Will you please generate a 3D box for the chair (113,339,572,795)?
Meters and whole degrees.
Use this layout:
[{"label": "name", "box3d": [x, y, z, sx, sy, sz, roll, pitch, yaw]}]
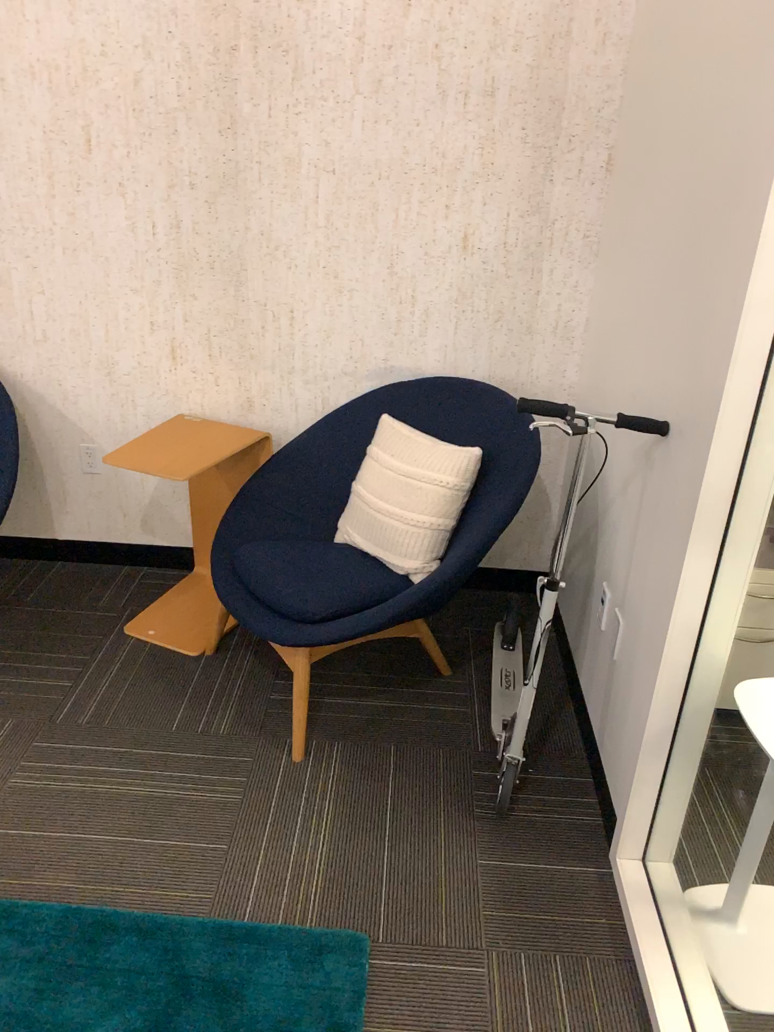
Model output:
[{"label": "chair", "box3d": [-0.160, 0.033, 2.268, 0.880, 0.816, 0.894, -15, 31, -34]}]
